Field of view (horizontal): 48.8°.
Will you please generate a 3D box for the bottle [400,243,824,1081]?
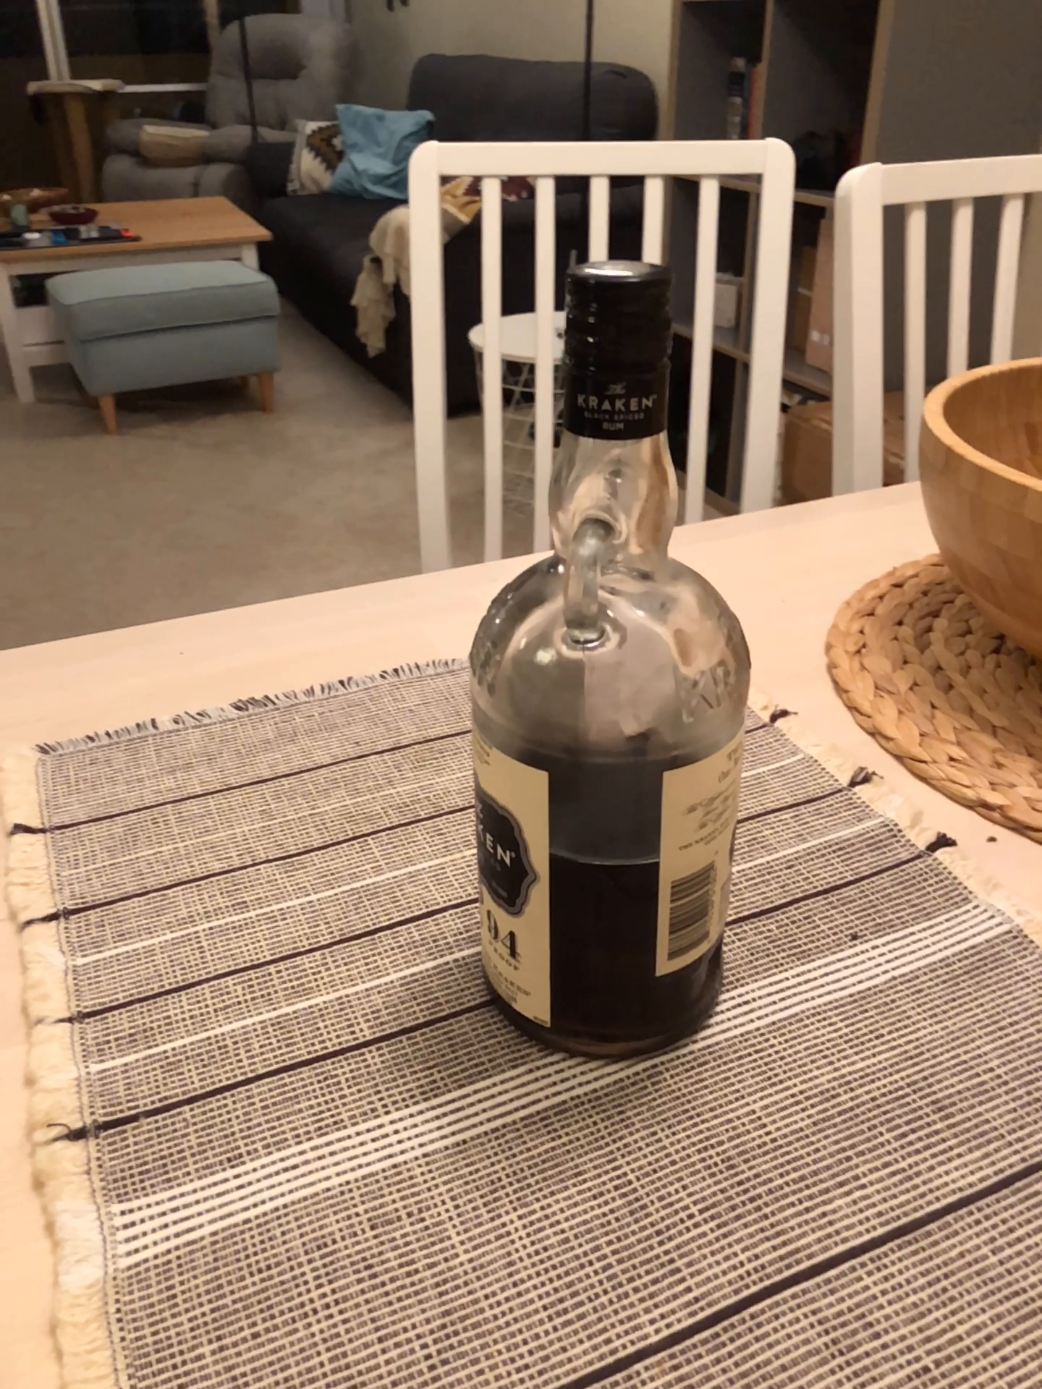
[{"bbox_3d":[0.029,-0.006,0.375,0.100,0.248,0.101,0,30,0],"label":"bottle"}]
